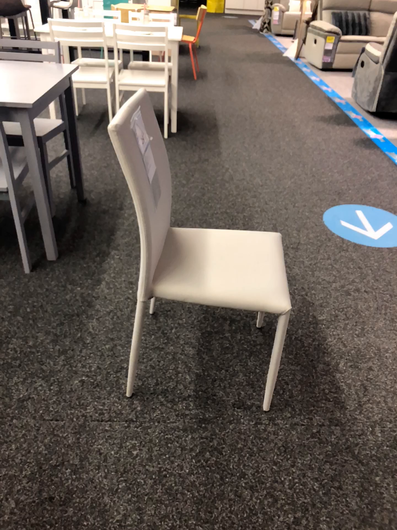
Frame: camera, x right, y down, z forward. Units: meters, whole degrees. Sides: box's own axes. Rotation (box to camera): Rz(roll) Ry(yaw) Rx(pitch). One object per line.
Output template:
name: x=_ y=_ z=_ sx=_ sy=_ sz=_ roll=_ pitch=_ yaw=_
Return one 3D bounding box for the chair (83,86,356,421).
chair: x=0.032 y=-0.028 z=1.294 sx=0.540 sy=0.815 sz=0.503 roll=4 pitch=33 yaw=0
